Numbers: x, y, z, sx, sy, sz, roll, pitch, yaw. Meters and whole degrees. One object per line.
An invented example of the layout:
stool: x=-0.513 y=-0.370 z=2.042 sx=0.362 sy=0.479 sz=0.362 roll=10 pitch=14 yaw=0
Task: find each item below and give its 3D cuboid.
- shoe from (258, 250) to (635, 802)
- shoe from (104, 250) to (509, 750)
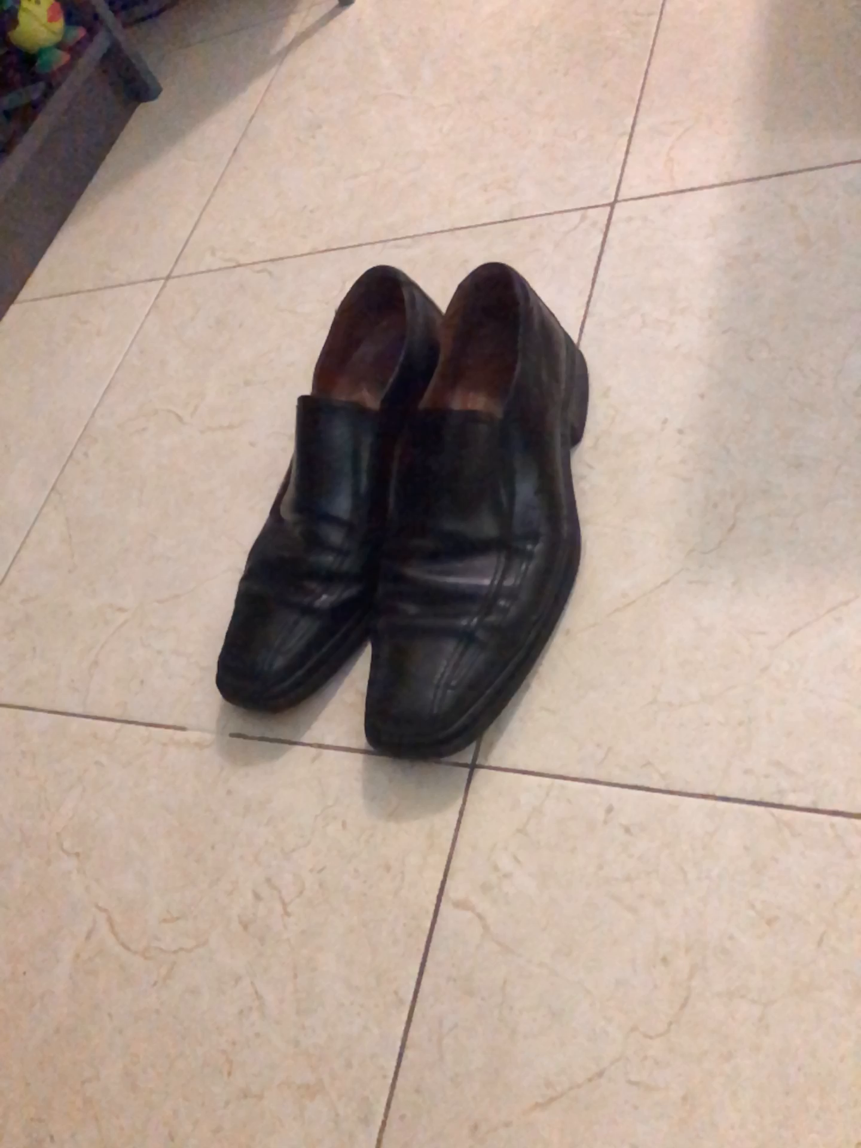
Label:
shoe: x=0.024 y=-0.039 z=0.557 sx=0.120 sy=0.090 sz=0.310 roll=2 pitch=59 yaw=28
shoe: x=-0.065 y=-0.059 z=0.610 sx=0.120 sy=0.090 sz=0.310 roll=6 pitch=61 yaw=31
